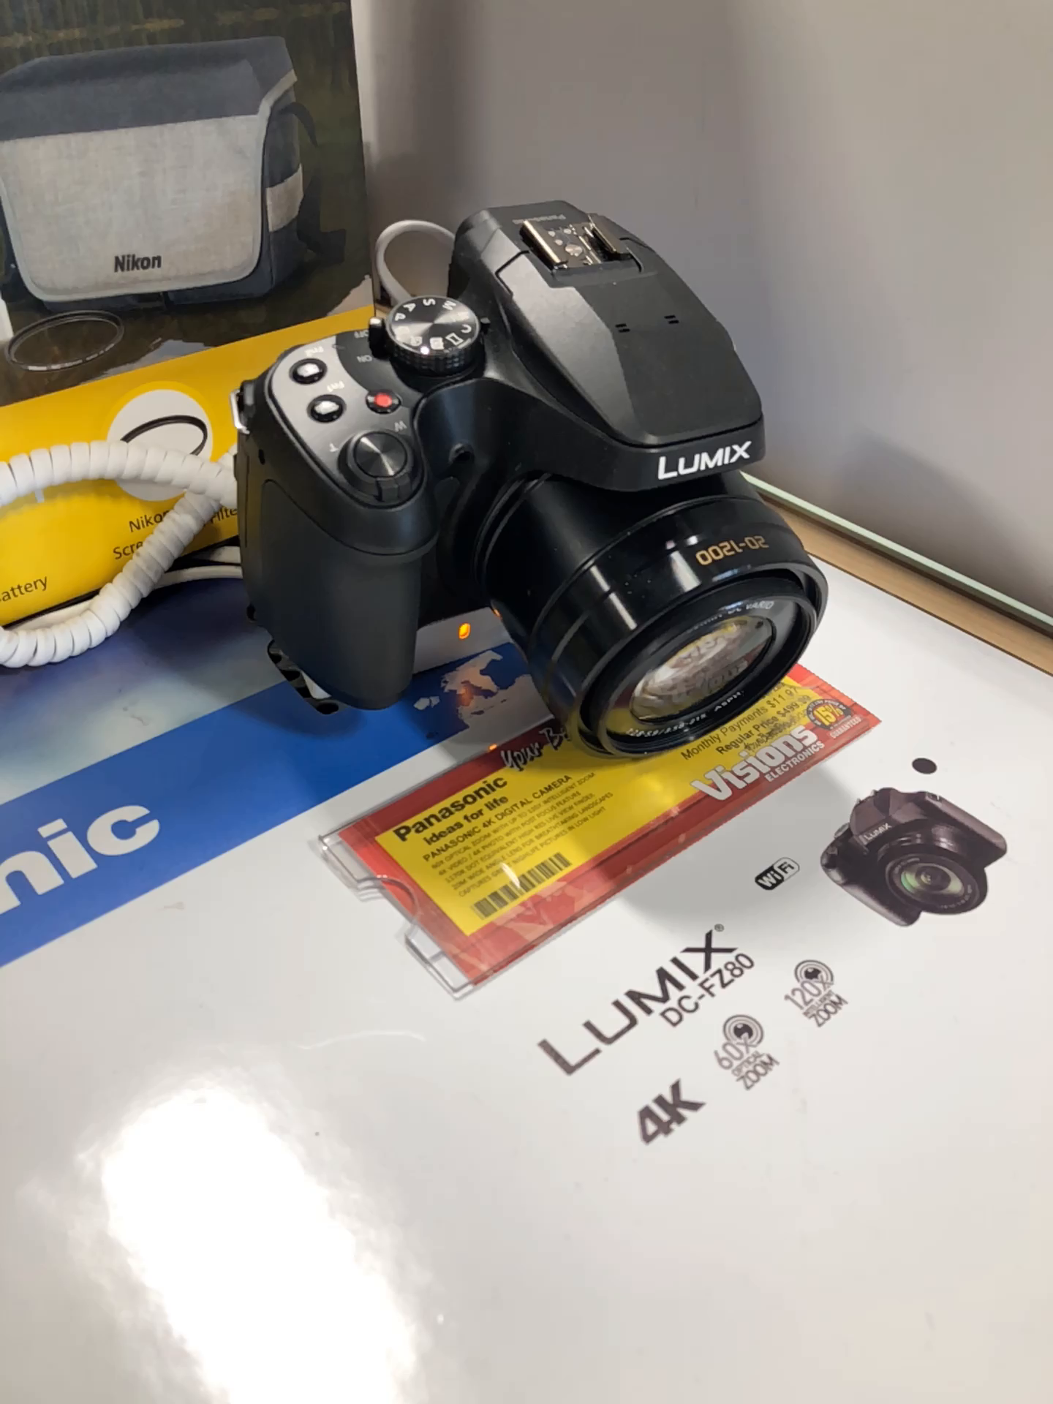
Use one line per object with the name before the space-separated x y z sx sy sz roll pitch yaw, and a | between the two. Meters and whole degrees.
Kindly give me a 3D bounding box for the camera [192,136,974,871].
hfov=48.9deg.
camera | 0.004 -0.050 0.264 0.120 0.099 0.101 -21 56 -25
